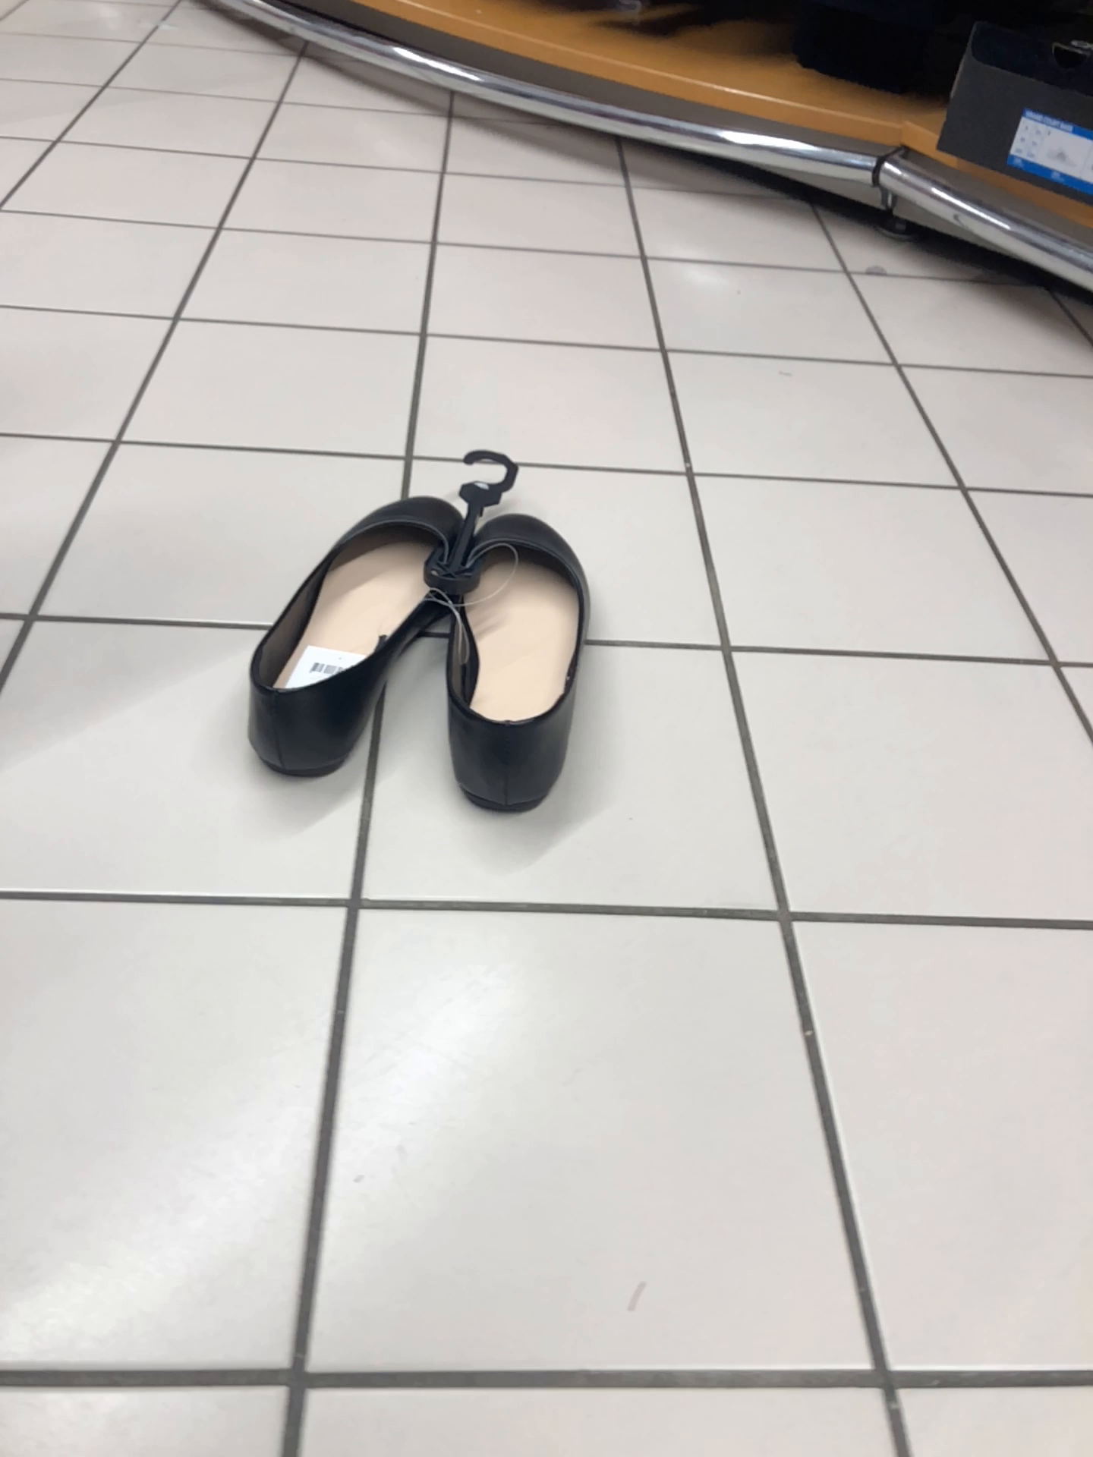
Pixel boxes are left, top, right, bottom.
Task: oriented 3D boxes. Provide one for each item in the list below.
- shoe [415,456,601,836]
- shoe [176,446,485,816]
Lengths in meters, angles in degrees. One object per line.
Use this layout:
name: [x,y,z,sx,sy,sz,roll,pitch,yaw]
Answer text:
shoe: [-0.015,-0.057,0.659,0.080,0.060,0.251,5,42,-1]
shoe: [-0.109,-0.067,0.676,0.080,0.060,0.252,12,42,7]
